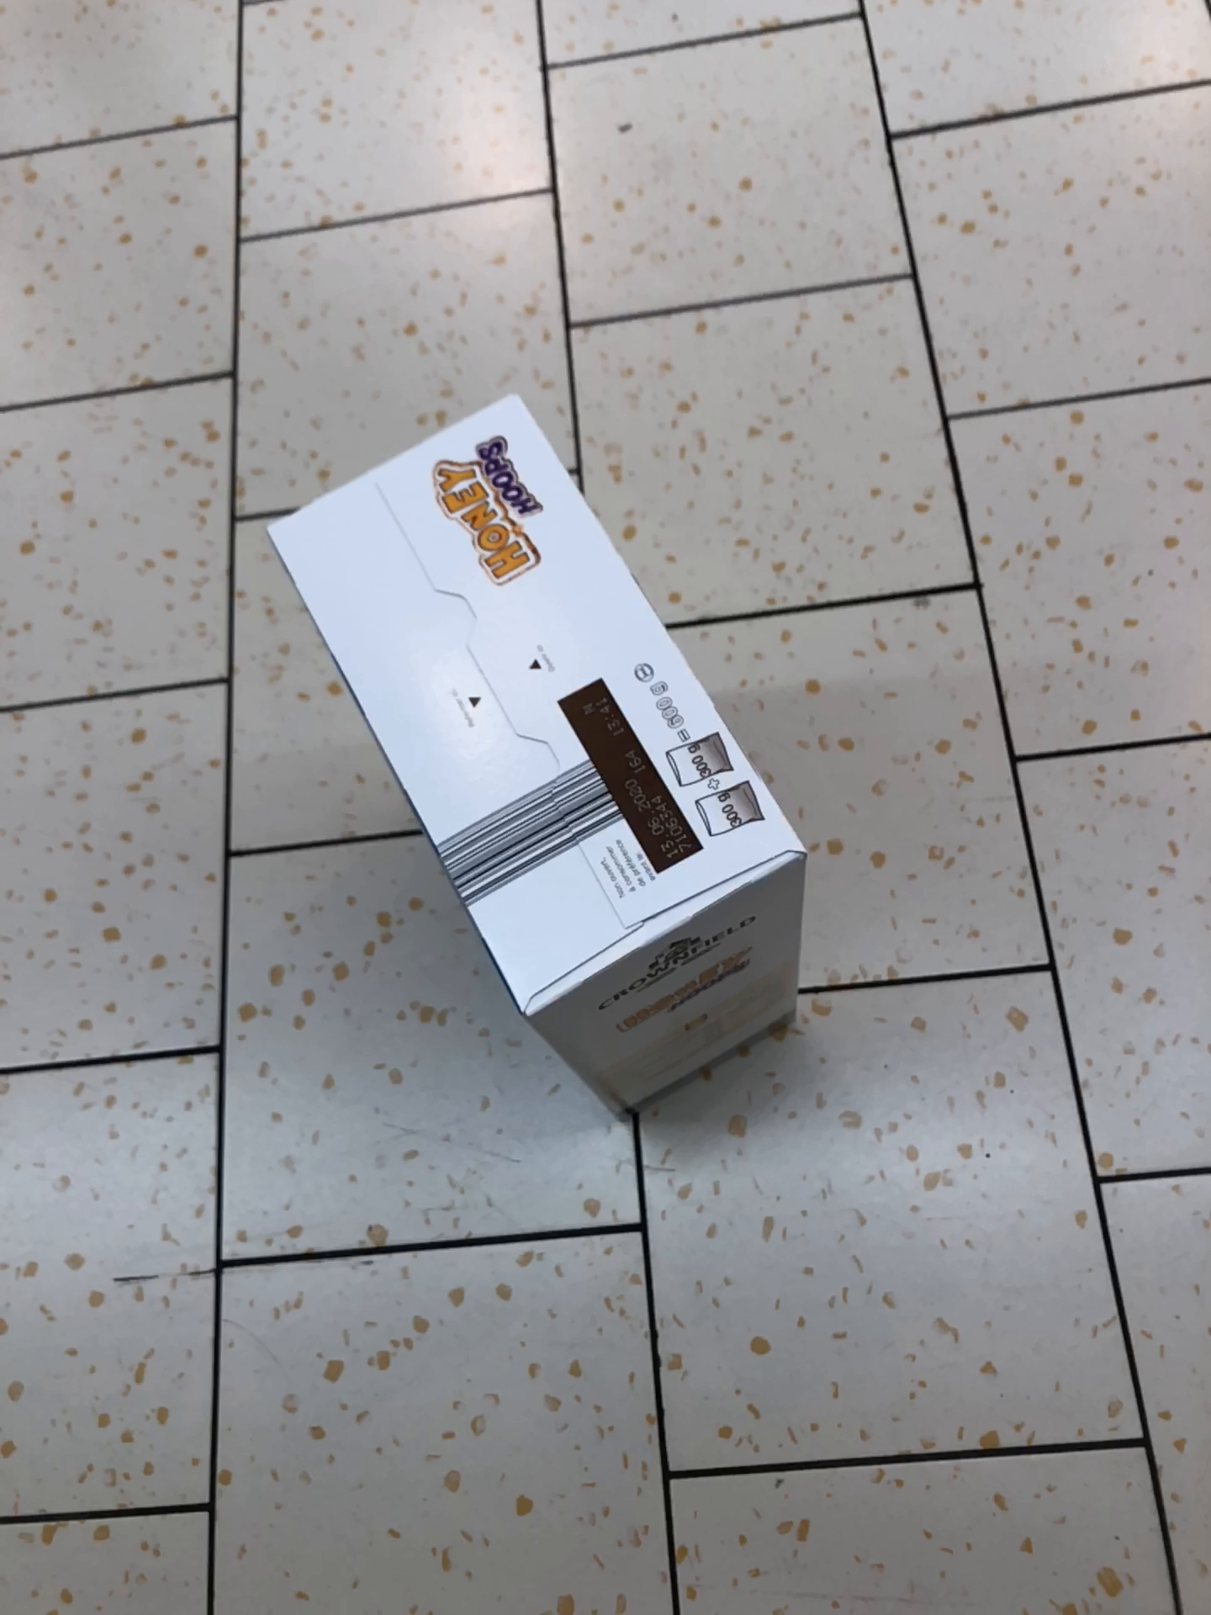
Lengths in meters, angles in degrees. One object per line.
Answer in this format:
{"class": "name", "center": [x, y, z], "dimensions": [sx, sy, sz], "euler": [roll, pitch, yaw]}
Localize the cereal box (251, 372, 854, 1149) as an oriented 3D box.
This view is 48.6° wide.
{"class": "cereal box", "center": [-0.008, 0.003, 0.540], "dimensions": [0.110, 0.250, 0.210], "euler": [-29, 69, -3]}
